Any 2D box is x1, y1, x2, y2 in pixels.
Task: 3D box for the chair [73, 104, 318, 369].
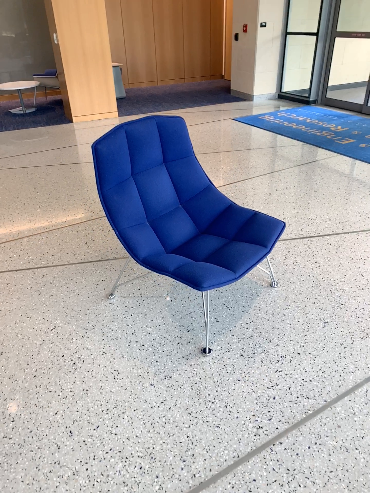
[{"bbox_3d":[0.070,-0.142,2.009,0.831,0.963,0.802,22,38,35],"label":"chair"}]
